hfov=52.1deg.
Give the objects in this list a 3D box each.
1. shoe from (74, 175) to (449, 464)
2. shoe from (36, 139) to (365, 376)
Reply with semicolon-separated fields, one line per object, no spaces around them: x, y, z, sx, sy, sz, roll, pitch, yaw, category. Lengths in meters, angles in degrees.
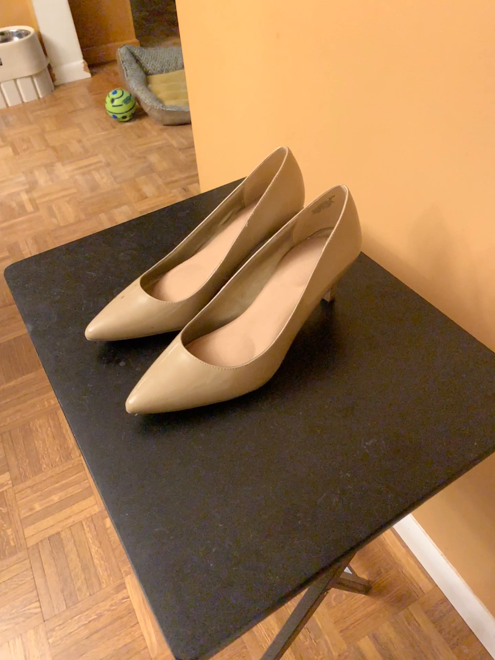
0.023;-0.024;0.440;0.300;0.090;0.100;-28;51;-21;shoe
-0.034;-0.085;0.508;0.300;0.090;0.100;-28;51;-21;shoe
